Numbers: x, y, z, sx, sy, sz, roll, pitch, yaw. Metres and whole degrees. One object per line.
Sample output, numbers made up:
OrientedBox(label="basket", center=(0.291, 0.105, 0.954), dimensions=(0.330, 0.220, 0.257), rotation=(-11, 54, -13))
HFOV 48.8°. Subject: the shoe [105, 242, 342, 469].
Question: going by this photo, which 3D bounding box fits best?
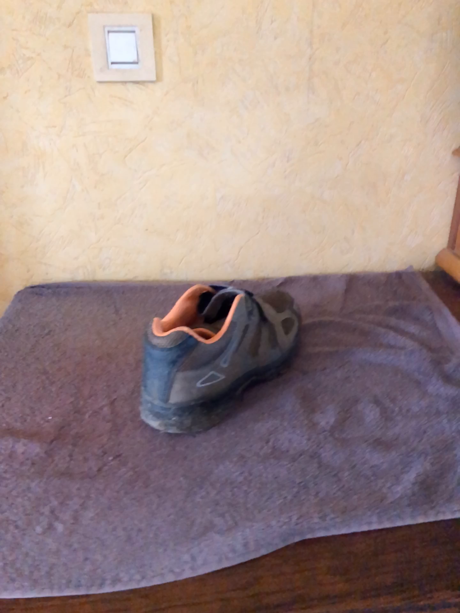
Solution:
OrientedBox(label="shoe", center=(0.011, 0.028, 0.540), dimensions=(0.110, 0.099, 0.272), rotation=(16, 32, 29))
